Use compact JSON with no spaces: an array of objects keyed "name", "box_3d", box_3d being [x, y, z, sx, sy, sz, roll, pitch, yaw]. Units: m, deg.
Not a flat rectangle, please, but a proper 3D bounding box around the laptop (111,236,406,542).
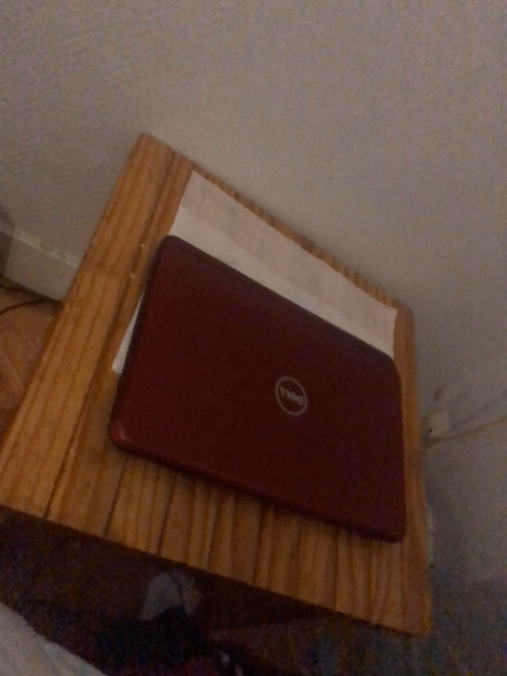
[{"name":"laptop","box_3d":[0.039,0.062,0.643,0.367,0.011,0.247,27,52,-25]}]
